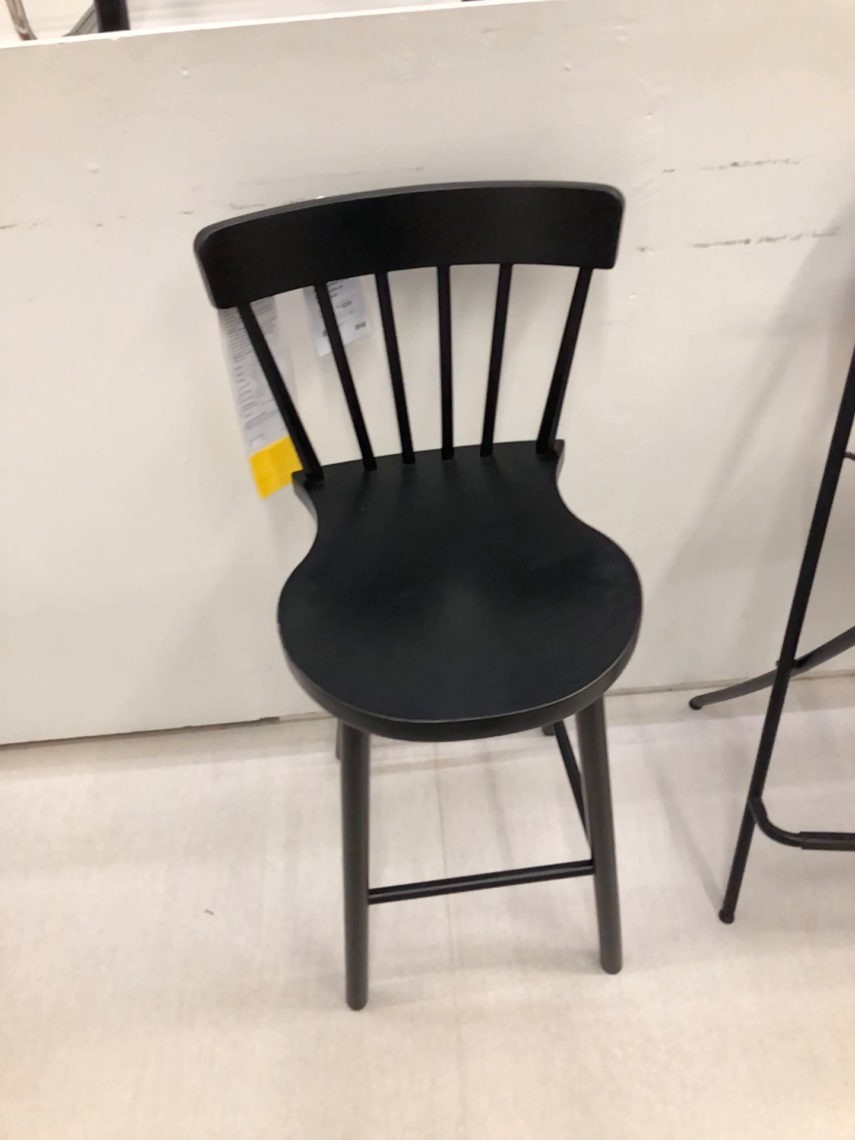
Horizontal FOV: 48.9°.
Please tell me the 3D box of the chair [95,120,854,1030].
[{"bbox_3d":[0.030,0.069,1.043,0.460,0.874,0.483,-8,45,-2],"label":"chair"}]
